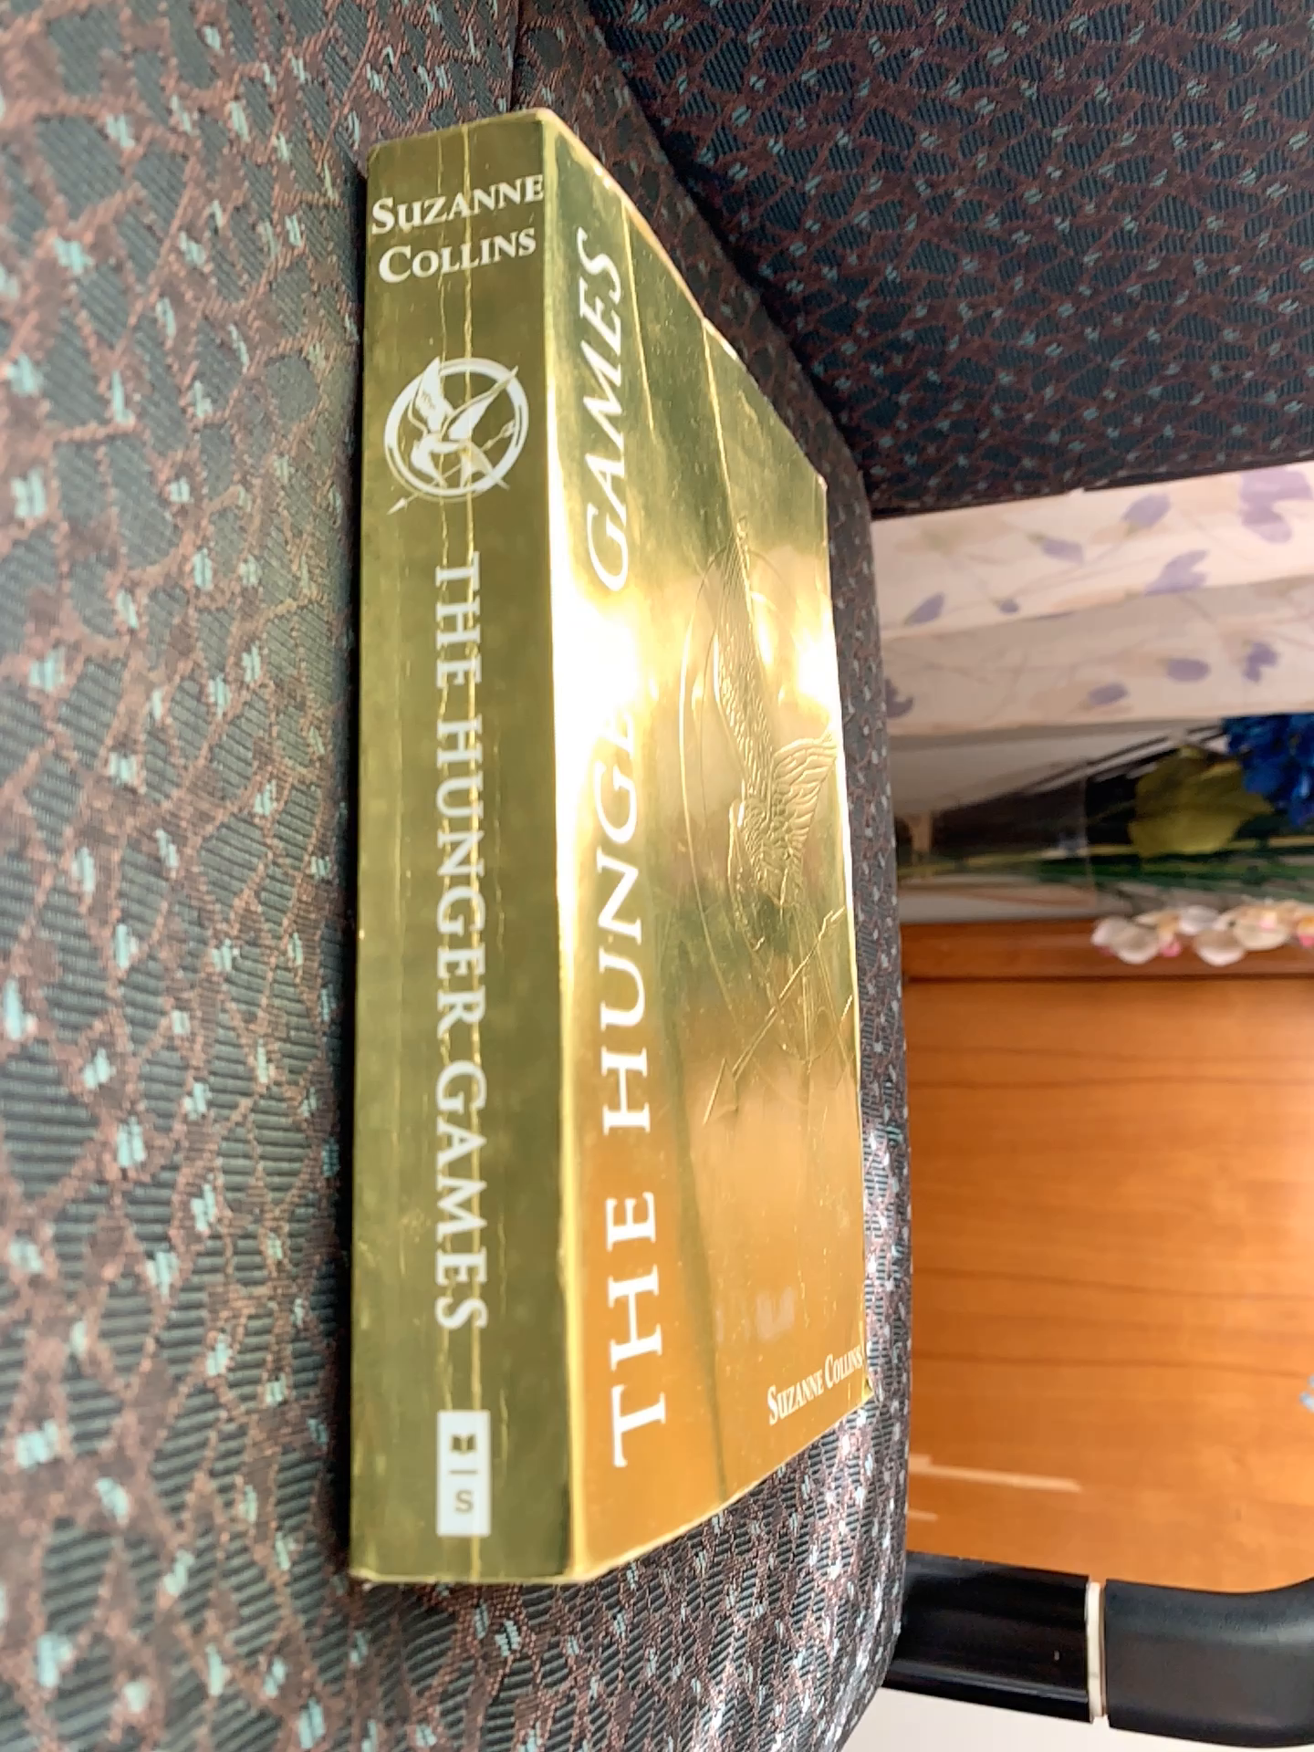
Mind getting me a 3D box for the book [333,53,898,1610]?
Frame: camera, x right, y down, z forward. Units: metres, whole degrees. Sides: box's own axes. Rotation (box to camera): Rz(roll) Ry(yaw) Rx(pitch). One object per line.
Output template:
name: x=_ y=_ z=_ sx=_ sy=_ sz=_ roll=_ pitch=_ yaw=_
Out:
book: x=0.002 y=-0.003 z=0.242 sx=0.142 sy=0.037 sz=0.200 roll=24 pitch=61 yaw=-66
